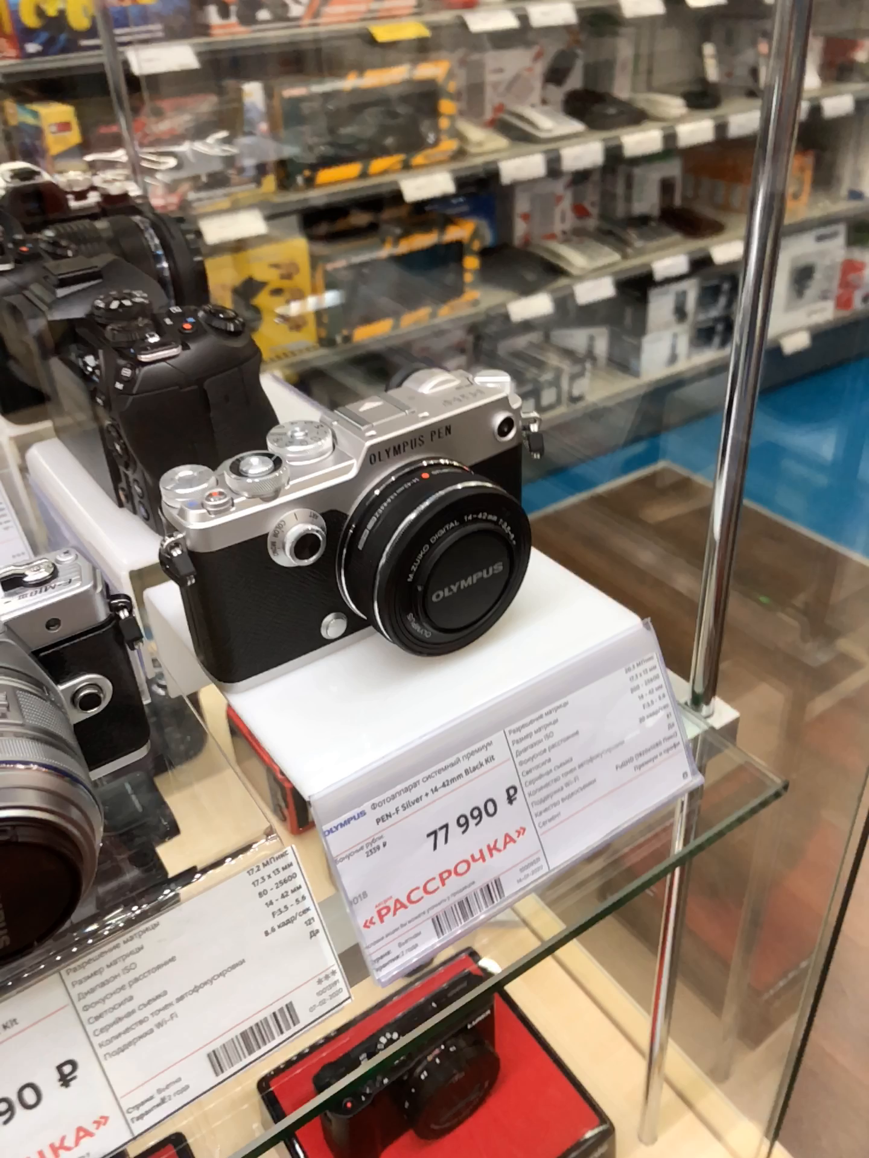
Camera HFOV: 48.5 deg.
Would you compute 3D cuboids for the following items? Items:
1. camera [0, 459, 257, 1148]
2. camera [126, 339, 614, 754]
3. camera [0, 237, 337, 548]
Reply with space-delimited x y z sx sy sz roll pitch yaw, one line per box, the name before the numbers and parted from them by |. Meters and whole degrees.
camera | -0.128 0.040 0.237 0.127 0.075 0.099 -23 38 -27
camera | -0.017 -0.019 0.311 0.127 0.070 0.076 -24 39 -28
camera | -0.113 -0.085 0.402 0.084 0.075 0.128 -24 39 -28
